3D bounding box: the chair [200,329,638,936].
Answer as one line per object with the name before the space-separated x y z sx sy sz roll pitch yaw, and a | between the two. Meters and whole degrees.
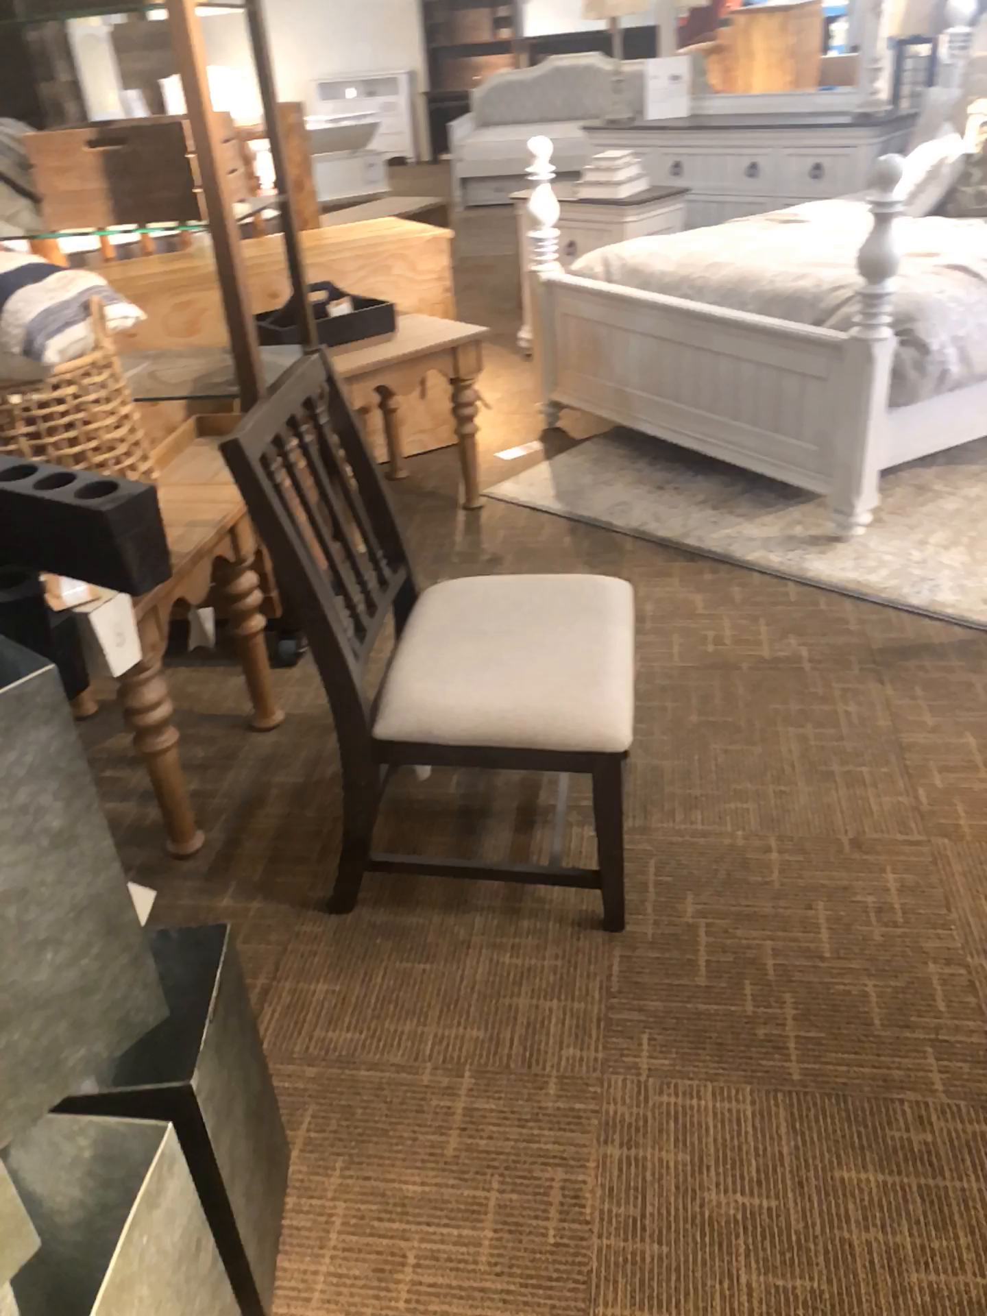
chair | -0.049 -0.054 1.958 0.600 0.905 0.583 0 30 9
